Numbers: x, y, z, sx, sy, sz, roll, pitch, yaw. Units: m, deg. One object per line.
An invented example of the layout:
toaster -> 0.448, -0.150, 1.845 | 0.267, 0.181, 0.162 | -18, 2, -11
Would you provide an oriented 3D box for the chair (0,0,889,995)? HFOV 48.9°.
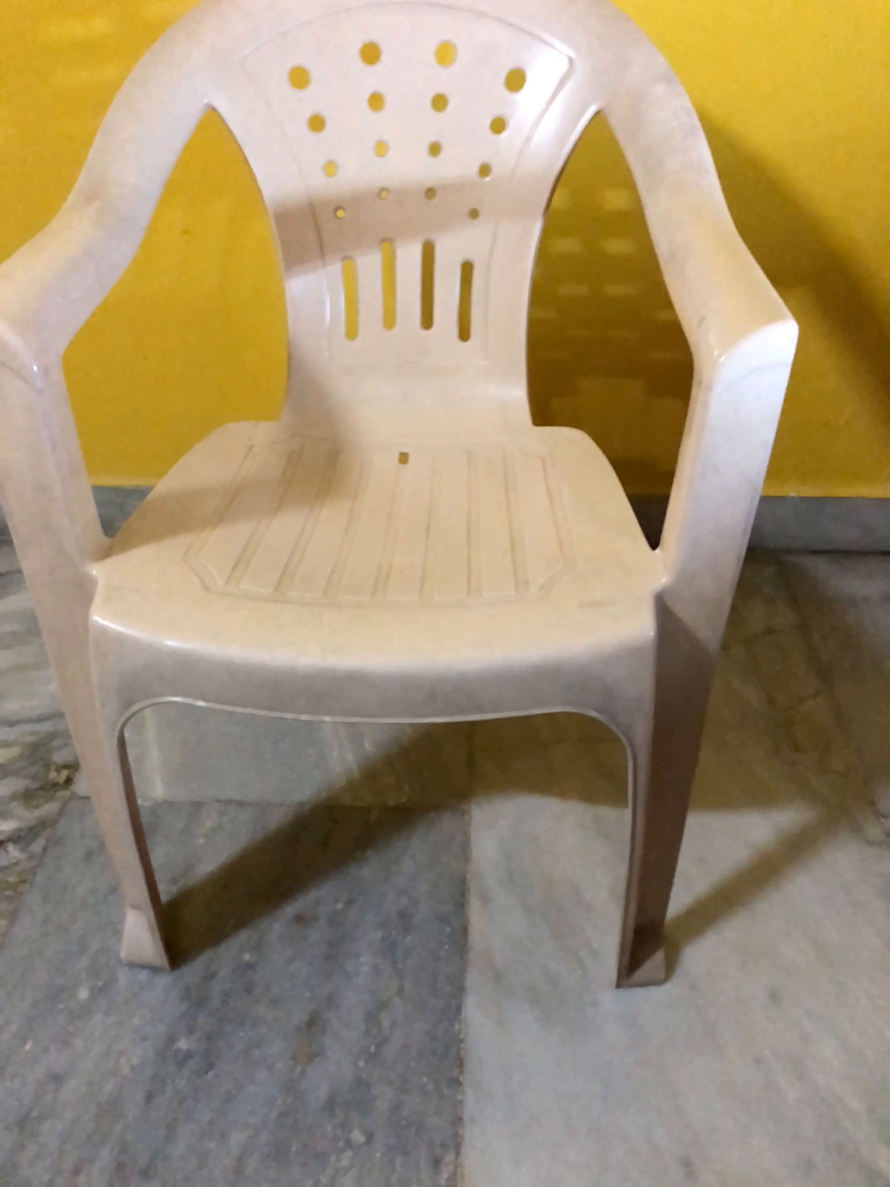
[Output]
chair -> -0.038, -0.134, 0.858 | 0.530, 0.785, 0.564 | 1, 37, 1
